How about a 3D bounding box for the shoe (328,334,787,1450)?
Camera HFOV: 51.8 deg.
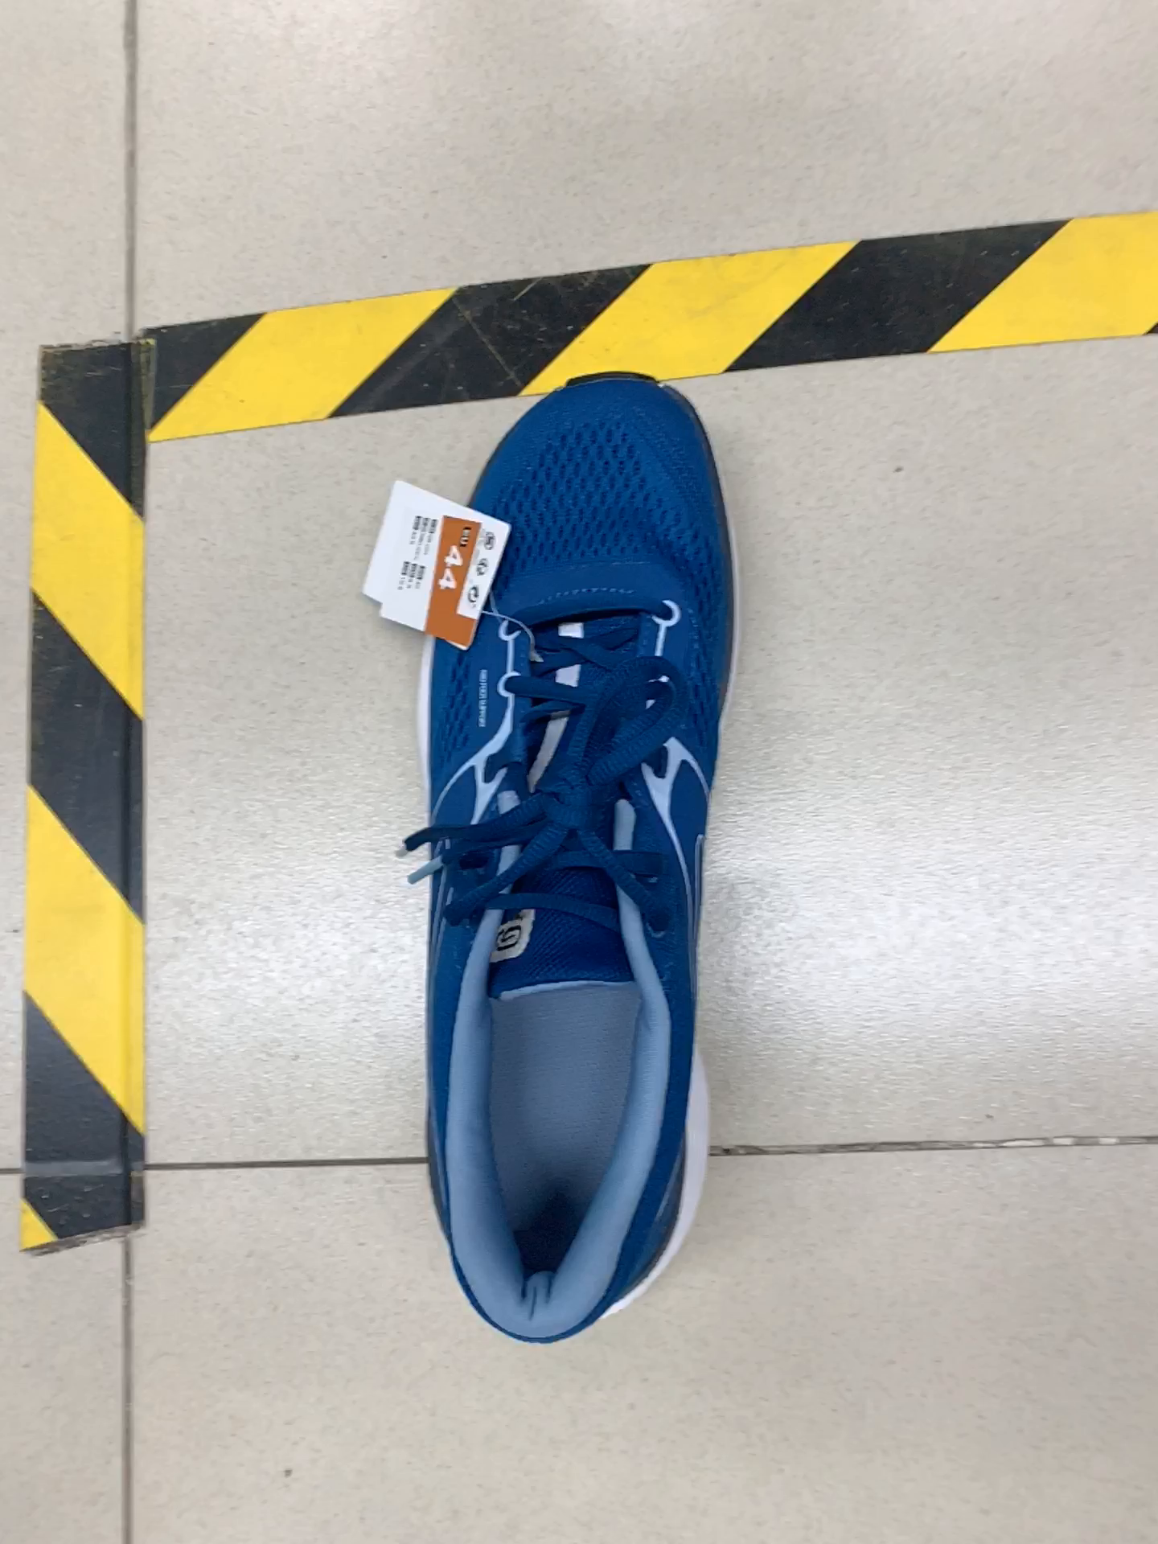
[{"bbox_3d":[0.001,0.024,0.349,0.110,0.070,0.290,0,77,6],"label":"shoe"}]
